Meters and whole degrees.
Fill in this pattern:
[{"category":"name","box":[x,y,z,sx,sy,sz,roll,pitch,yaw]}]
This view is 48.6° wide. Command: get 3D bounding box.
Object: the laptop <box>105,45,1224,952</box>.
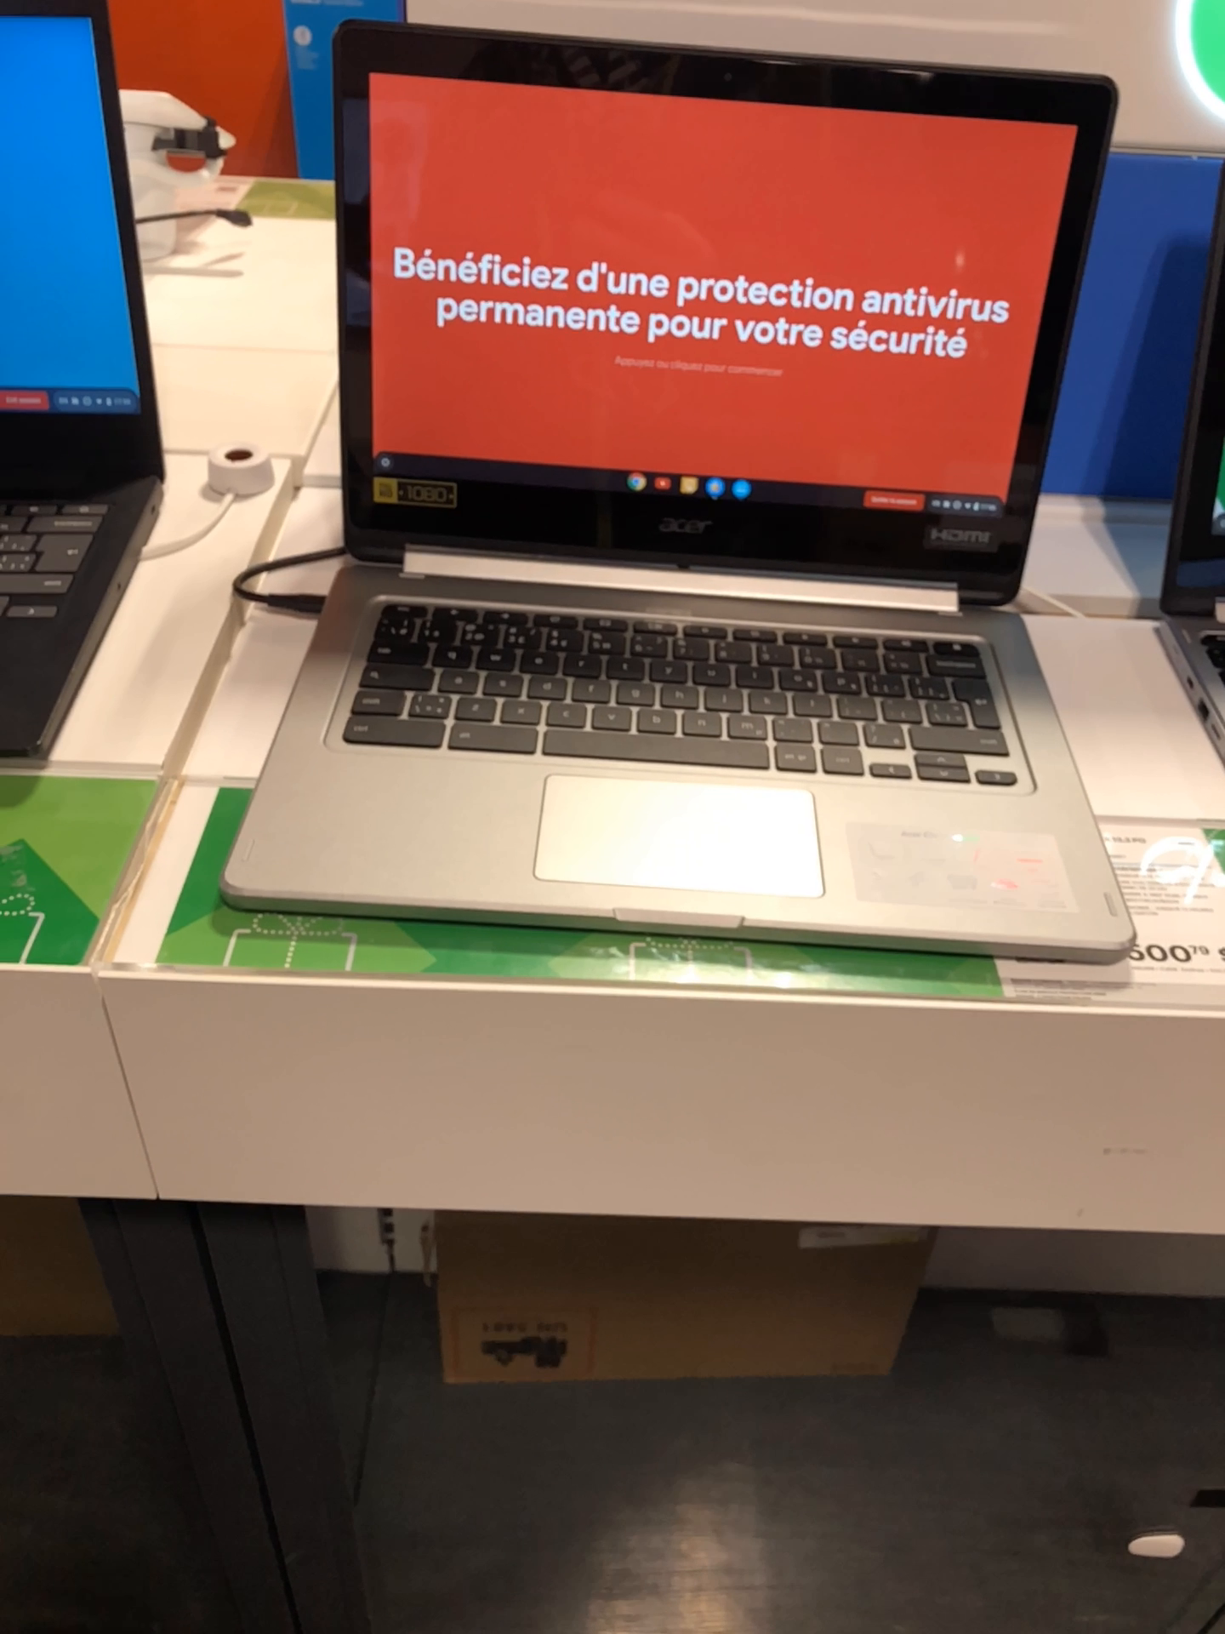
[{"category":"laptop","box":[0.032,-0.125,0.496,0.317,0.226,0.240,4,38,0]}]
